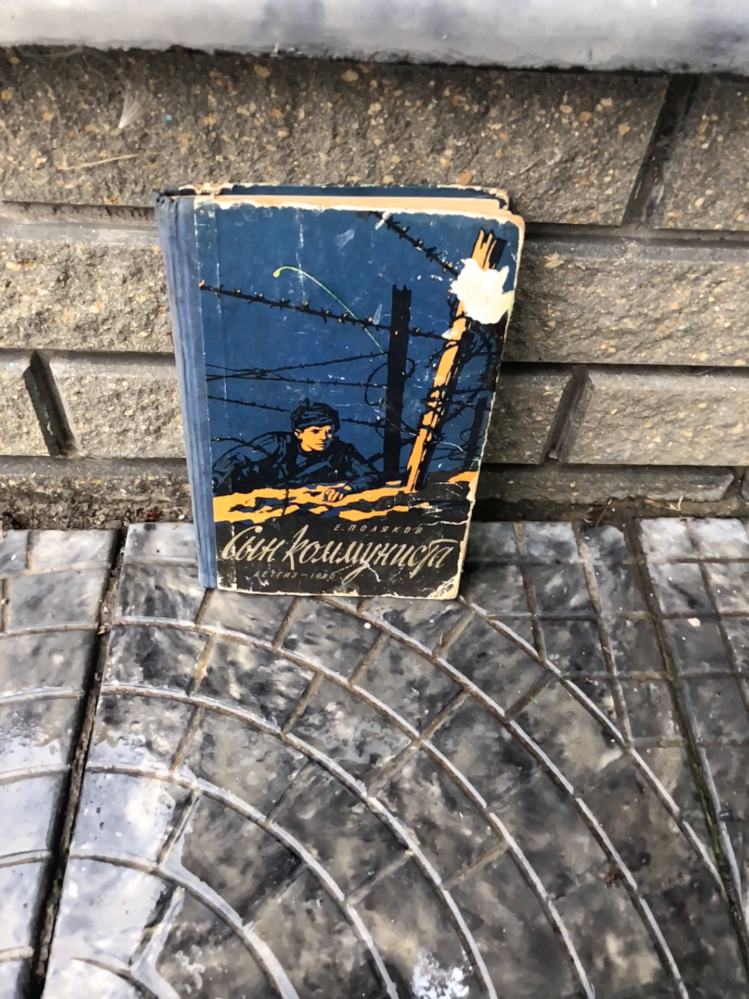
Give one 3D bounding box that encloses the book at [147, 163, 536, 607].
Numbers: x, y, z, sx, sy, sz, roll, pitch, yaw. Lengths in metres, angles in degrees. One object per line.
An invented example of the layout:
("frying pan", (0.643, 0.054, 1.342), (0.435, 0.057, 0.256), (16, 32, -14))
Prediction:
("book", (-0.017, -0.039, 0.374), (0.140, 0.199, 0.040), (2, 38, -3))
